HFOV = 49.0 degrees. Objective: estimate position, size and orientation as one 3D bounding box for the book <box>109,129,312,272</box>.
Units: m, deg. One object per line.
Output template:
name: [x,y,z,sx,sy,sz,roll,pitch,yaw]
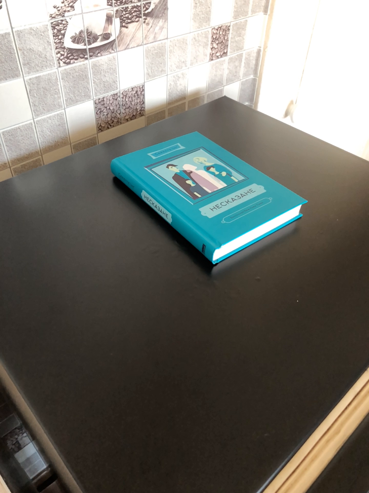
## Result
book: [0.025,-0.073,0.509,0.150,0.030,0.211,-27,51,-28]
